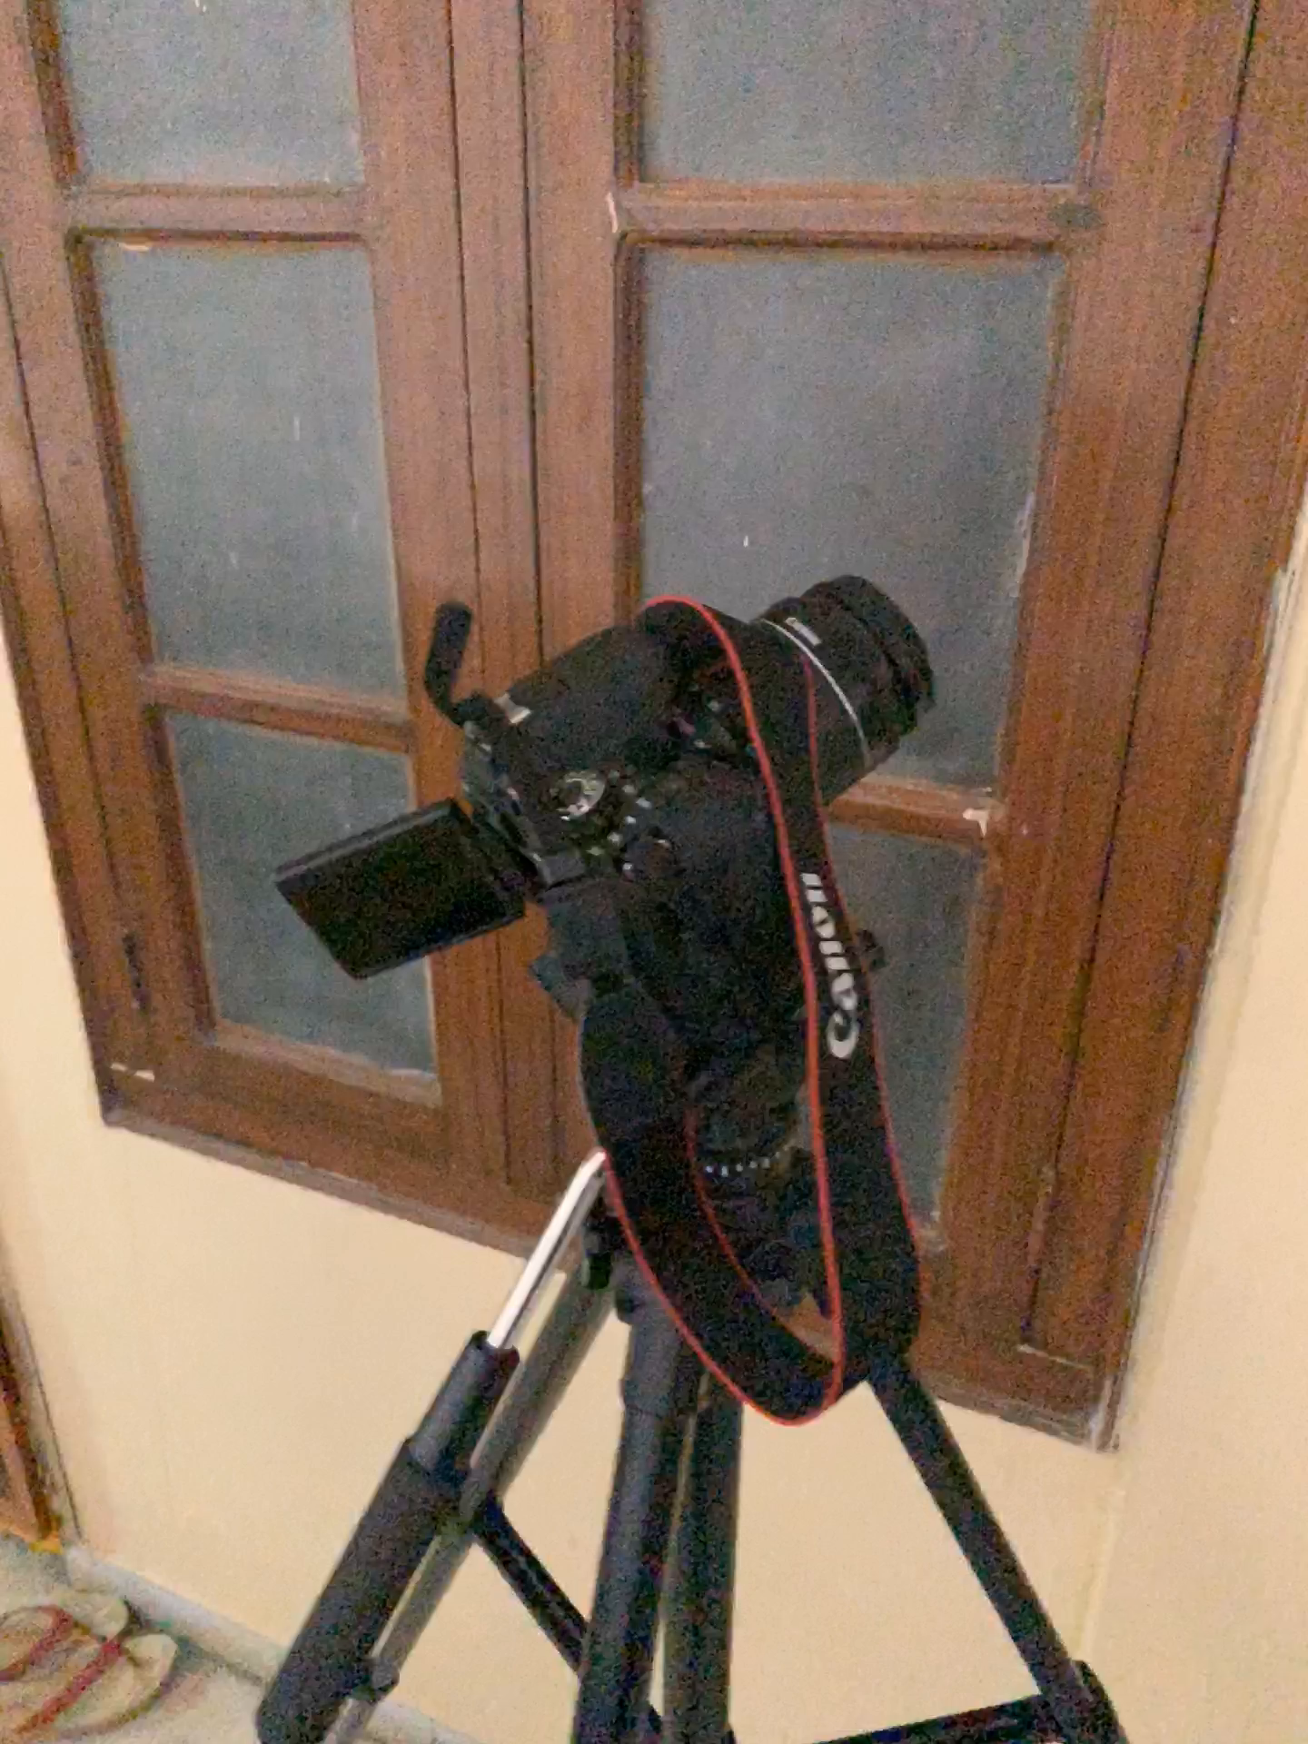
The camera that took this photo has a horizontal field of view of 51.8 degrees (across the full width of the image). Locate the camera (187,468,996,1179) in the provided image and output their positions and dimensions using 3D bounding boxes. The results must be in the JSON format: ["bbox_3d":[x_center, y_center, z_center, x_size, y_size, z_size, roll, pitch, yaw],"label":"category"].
[{"bbox_3d":[-0.021,-0.031,0.473,0.225,0.100,0.142,-36,37,-15],"label":"camera"}]
